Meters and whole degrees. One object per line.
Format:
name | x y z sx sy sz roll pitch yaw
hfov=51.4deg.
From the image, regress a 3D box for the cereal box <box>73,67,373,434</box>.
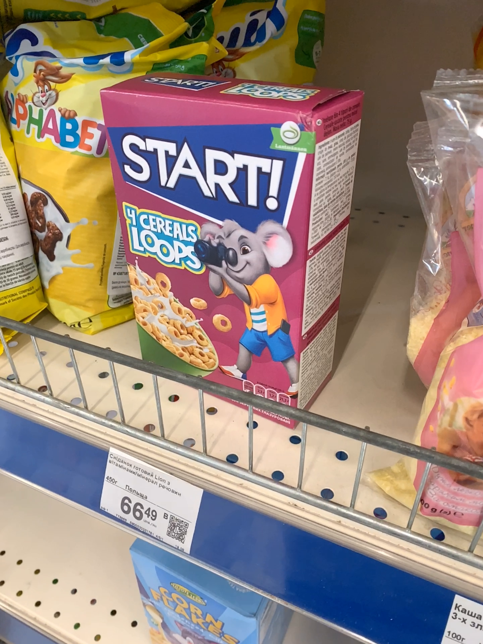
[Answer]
cereal box | -0.009 -0.036 0.259 0.120 0.159 0.050 18 39 25
